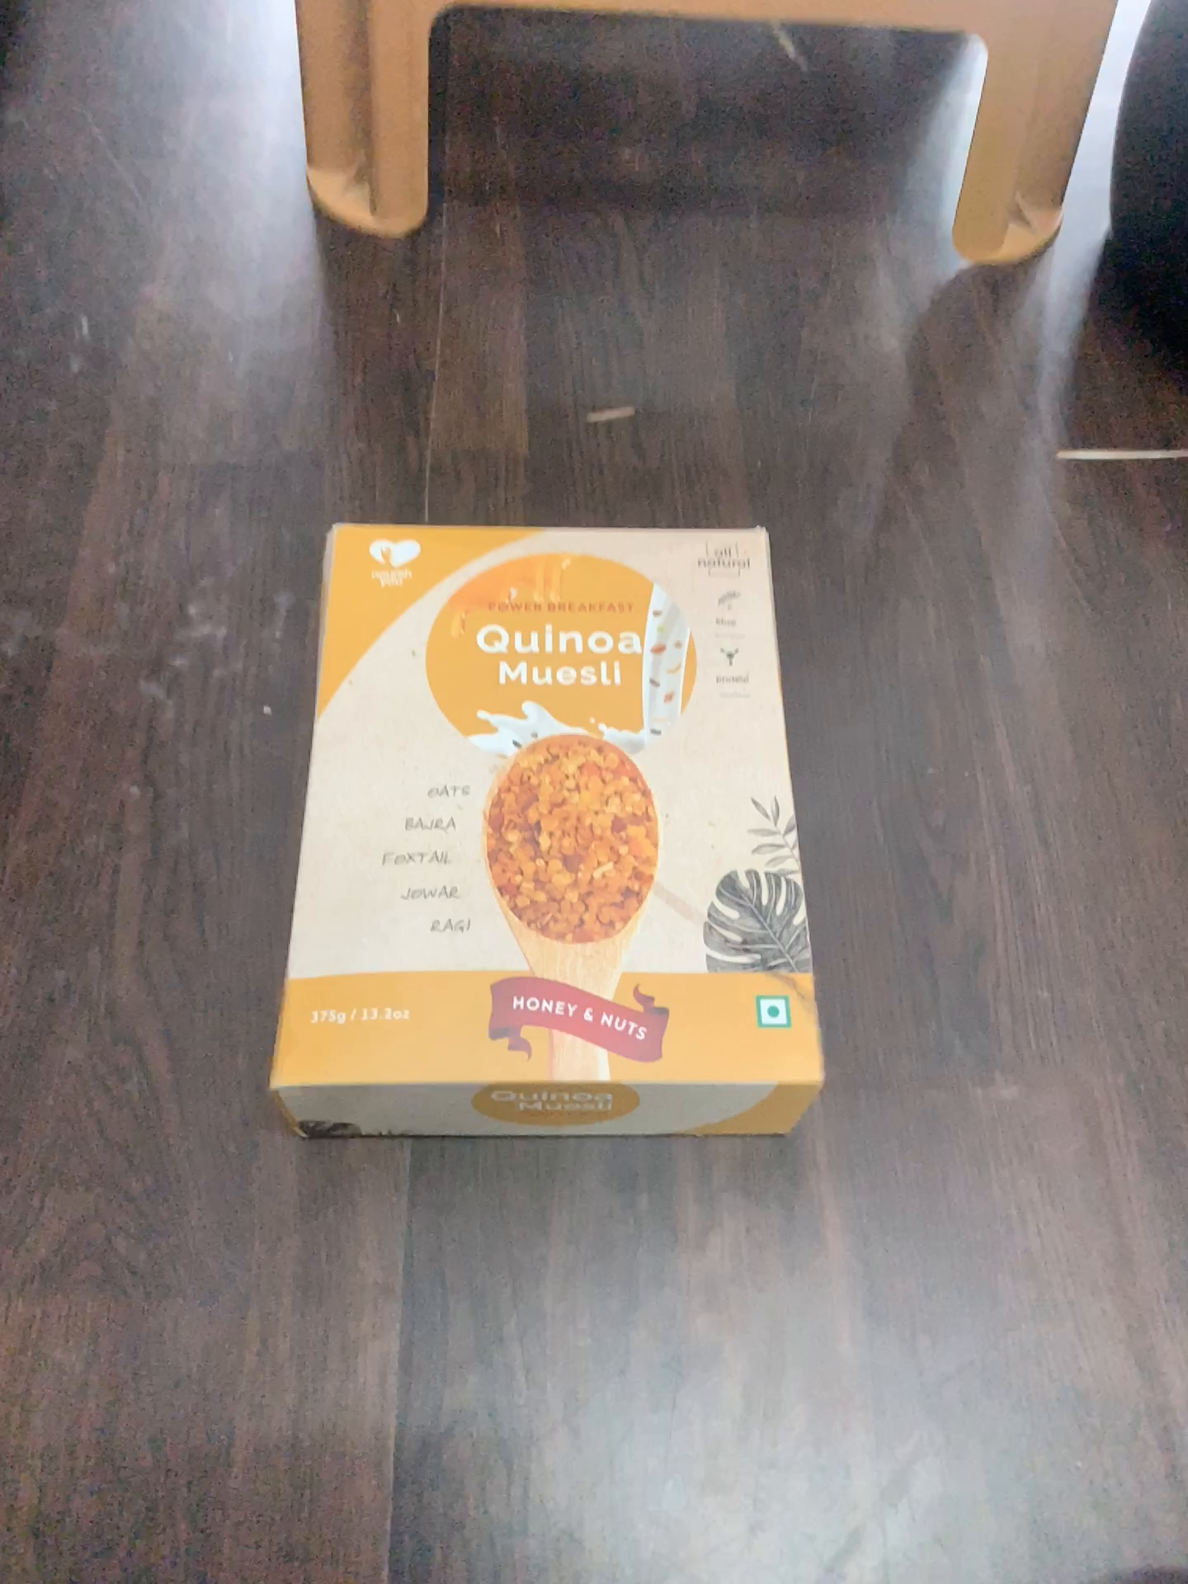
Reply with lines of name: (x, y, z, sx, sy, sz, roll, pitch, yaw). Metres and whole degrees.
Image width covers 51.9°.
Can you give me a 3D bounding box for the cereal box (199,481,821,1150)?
cereal box: (-0.024, 0.002, 0.412, 0.170, 0.060, 0.221, 0, 63, -2)
